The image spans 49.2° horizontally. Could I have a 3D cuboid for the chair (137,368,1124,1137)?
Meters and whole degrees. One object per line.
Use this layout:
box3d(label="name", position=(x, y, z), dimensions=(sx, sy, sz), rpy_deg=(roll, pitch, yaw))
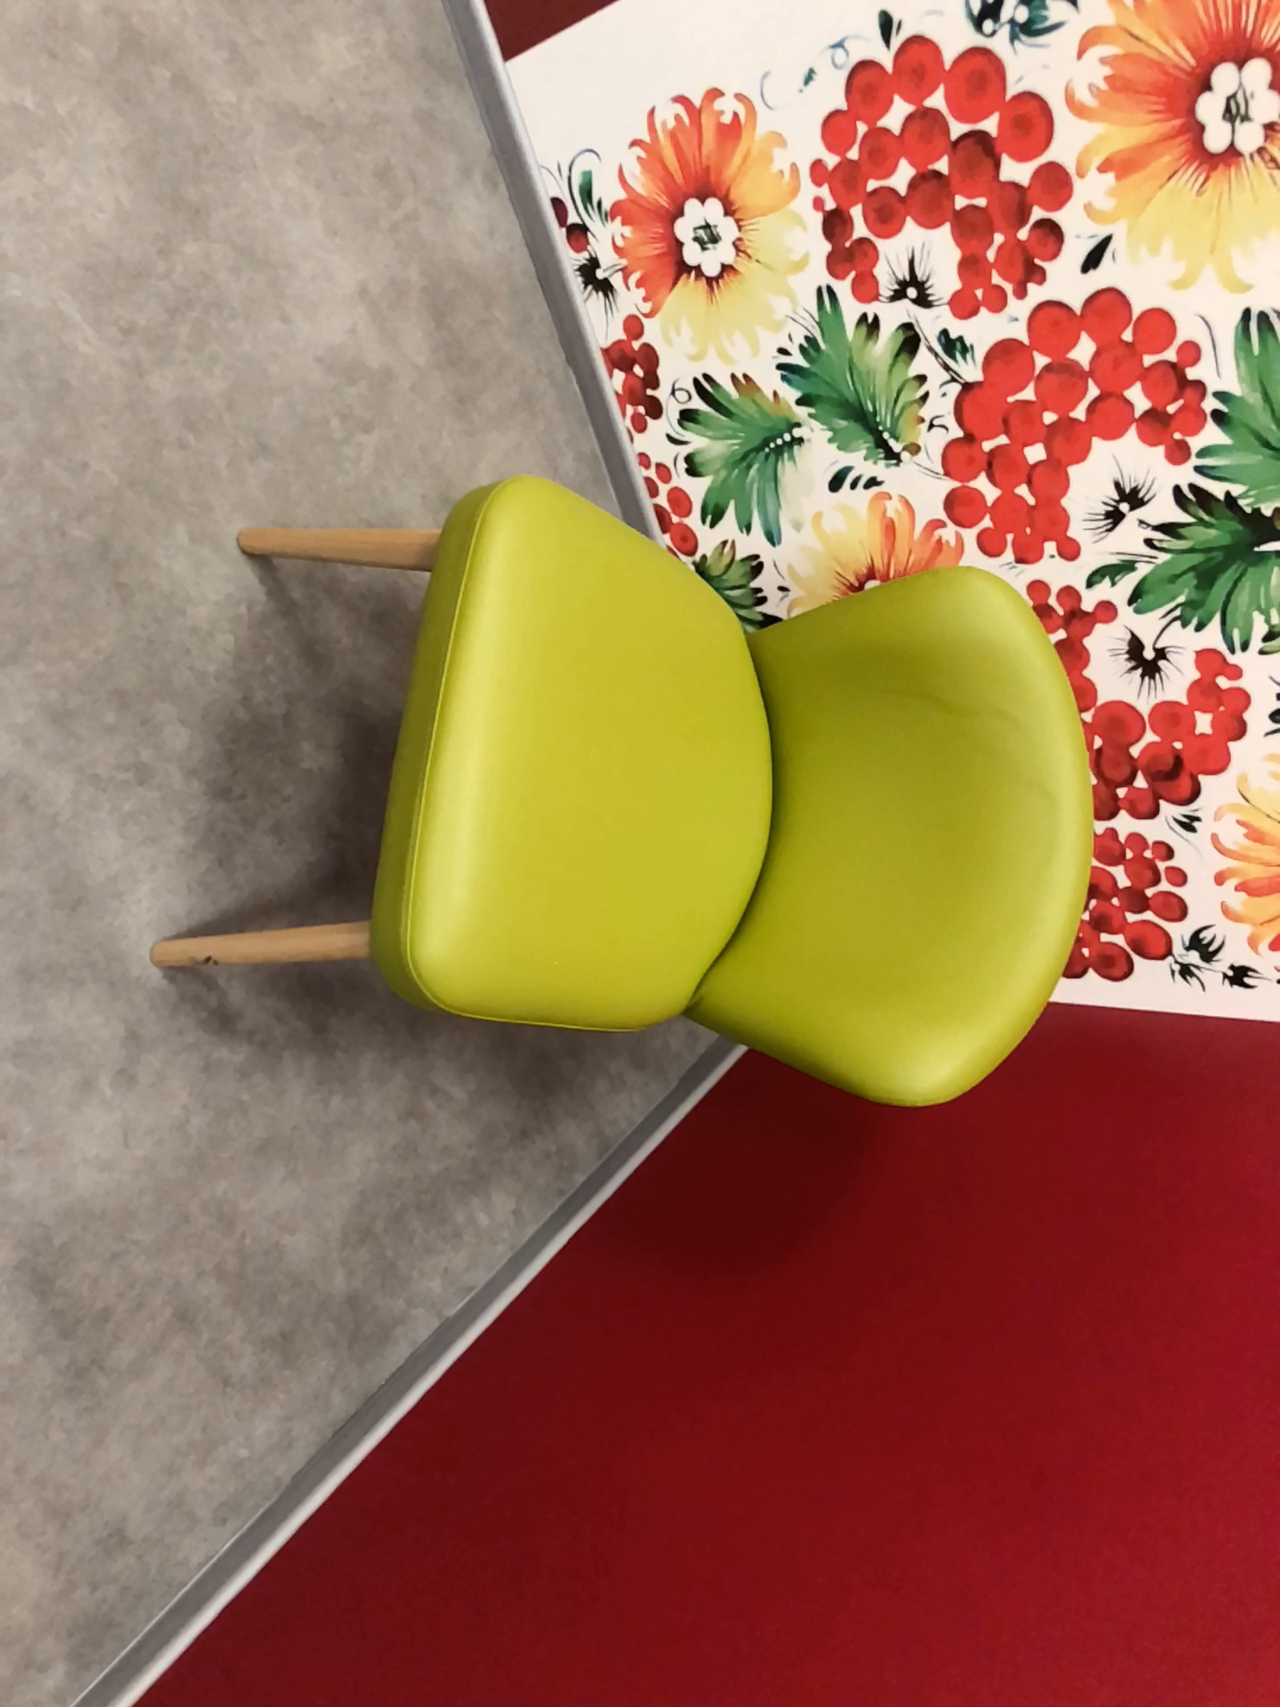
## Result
box3d(label="chair", position=(-0.014, -0.046, 1.466), dimensions=(0.573, 0.775, 0.520), rpy_deg=(20, 76, -46))
